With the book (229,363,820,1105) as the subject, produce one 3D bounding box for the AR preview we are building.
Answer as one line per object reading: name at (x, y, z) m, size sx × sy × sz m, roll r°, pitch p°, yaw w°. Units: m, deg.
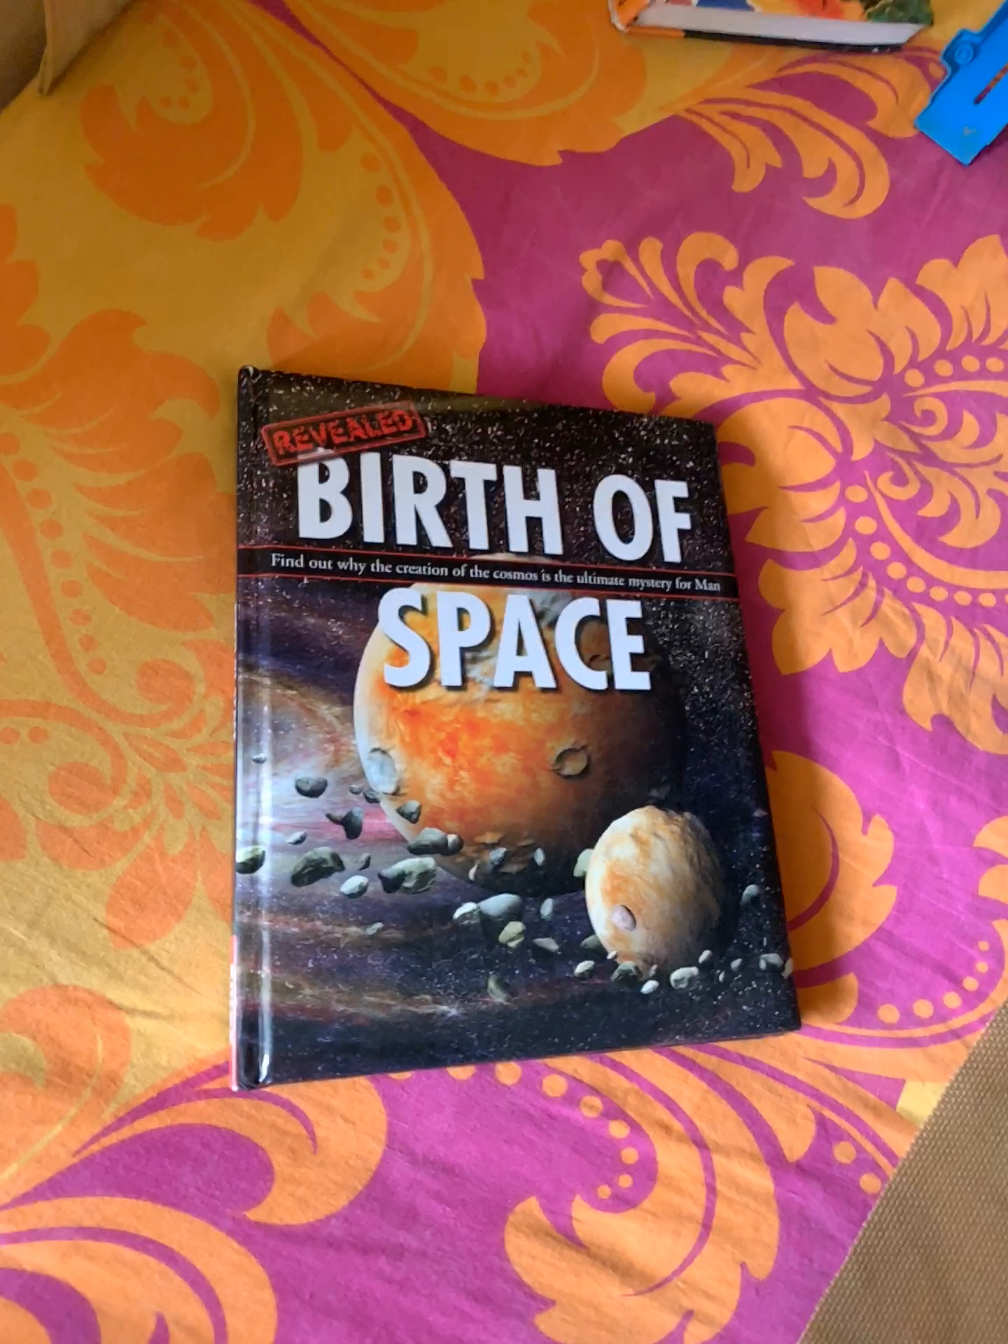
book at (0.006, 0.014, 0.395) m, size 0.211 × 0.020 × 0.258 m, roll 2°, pitch 73°, yaw -18°
